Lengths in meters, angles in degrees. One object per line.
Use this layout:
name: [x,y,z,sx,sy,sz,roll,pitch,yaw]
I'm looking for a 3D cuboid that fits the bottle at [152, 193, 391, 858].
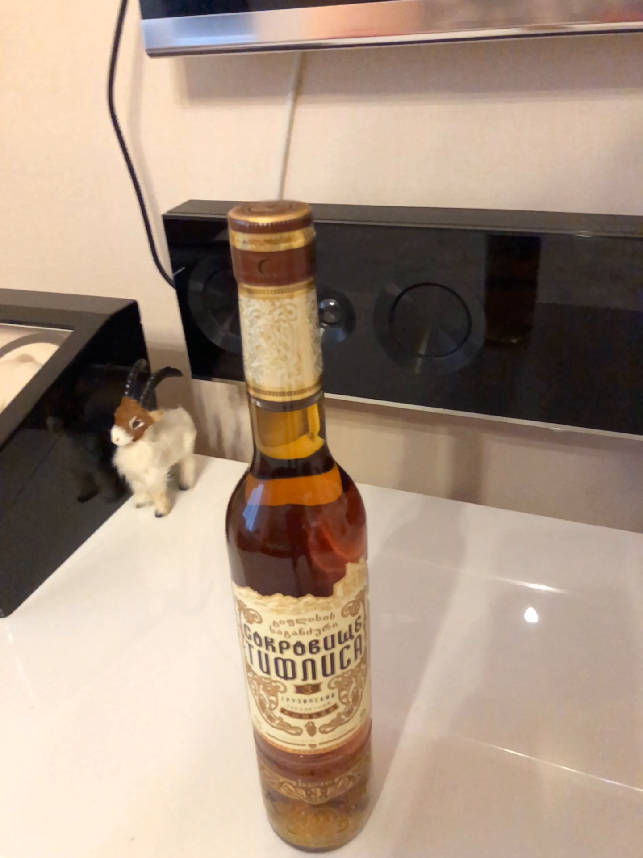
bottle: [-0.009,0.063,0.315,0.070,0.308,0.070,-3,29,1]
